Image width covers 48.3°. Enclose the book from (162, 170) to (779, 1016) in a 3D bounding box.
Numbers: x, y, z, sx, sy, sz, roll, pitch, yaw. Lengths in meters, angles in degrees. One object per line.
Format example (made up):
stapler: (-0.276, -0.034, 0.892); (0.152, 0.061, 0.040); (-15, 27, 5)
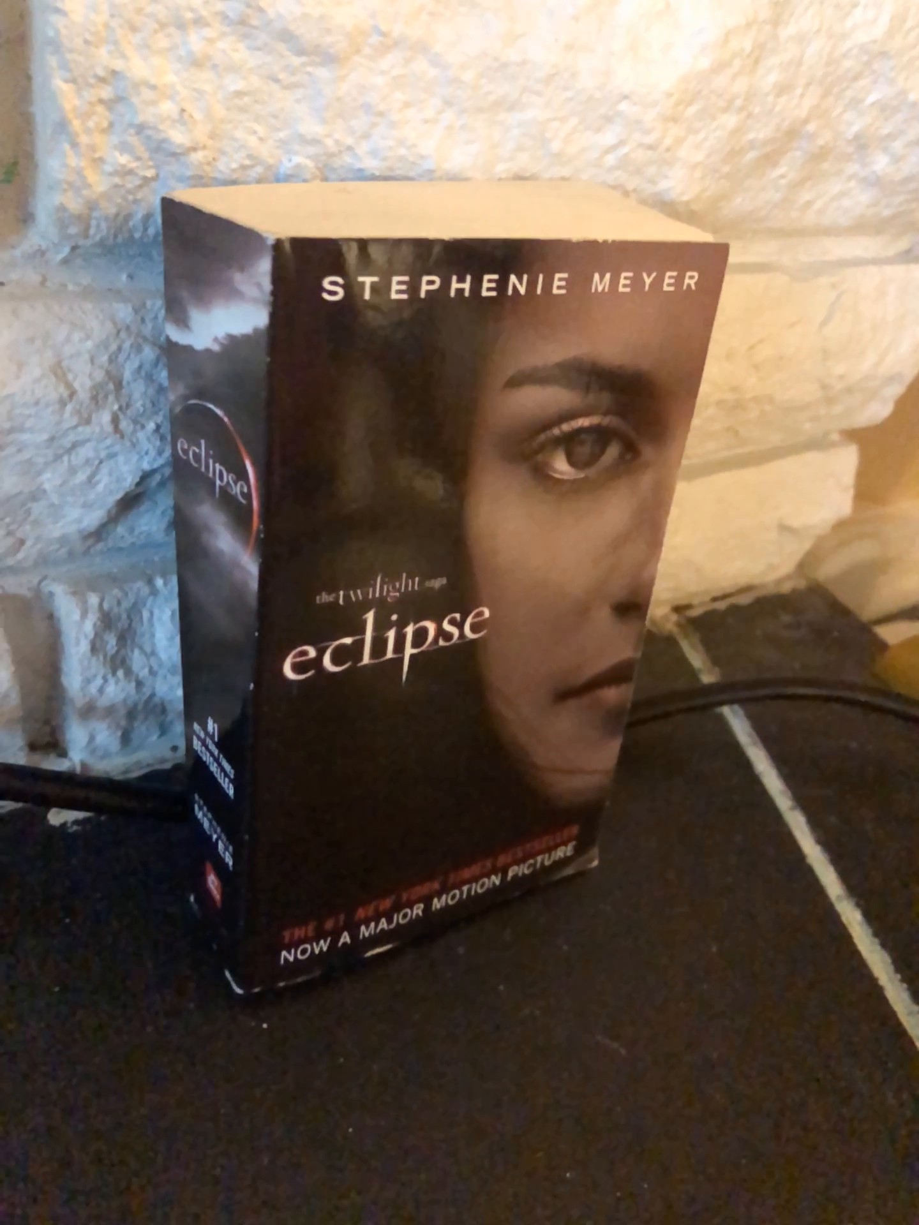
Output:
book: (-0.007, 0.001, 0.234); (0.106, 0.181, 0.042); (-11, 38, -27)
